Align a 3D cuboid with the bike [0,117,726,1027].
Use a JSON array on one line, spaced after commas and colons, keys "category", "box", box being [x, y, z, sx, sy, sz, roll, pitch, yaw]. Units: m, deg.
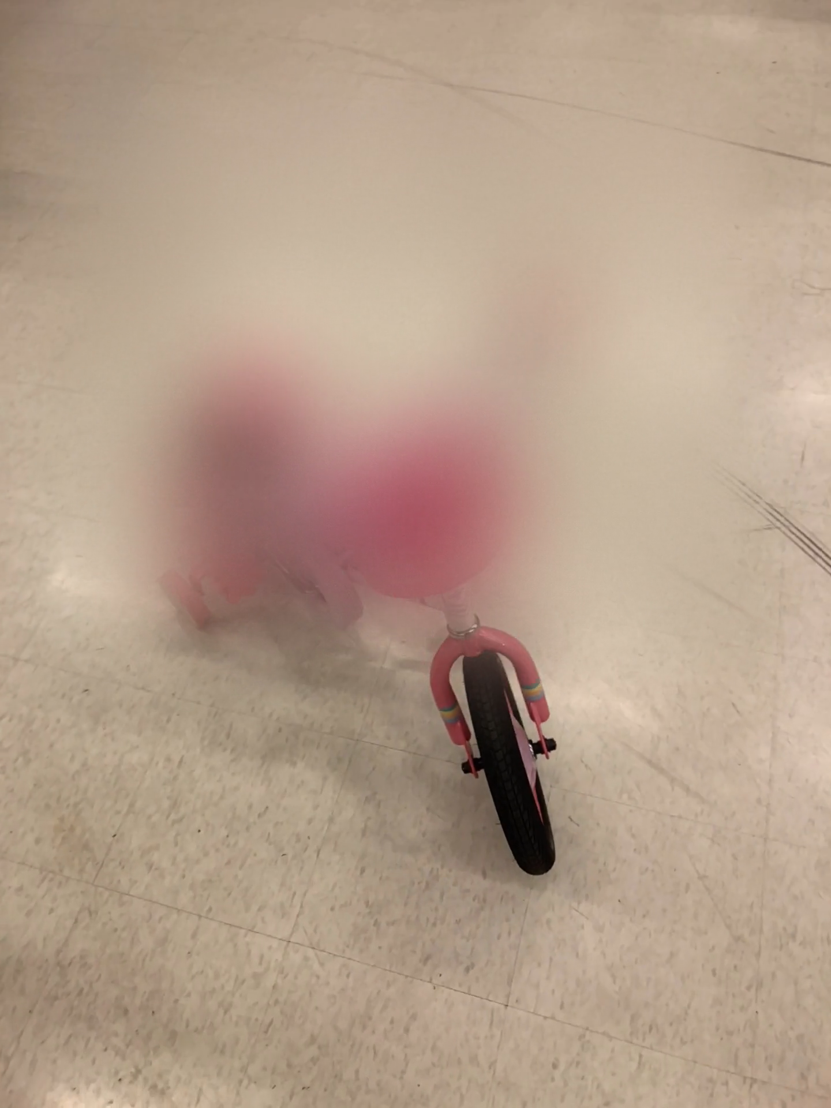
[{"category": "bike", "box": [-0.121, 0.011, 1.220, 0.457, 0.632, 0.881, -32, 60, -17]}]
